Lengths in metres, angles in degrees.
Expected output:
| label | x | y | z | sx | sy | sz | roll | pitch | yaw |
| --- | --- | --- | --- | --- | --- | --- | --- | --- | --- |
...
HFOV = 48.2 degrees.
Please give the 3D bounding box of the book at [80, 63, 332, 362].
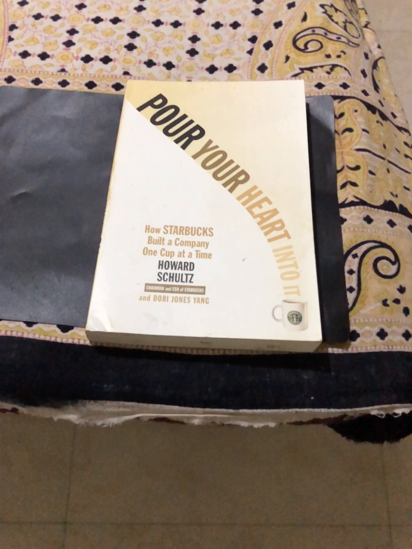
| label | x | y | z | sx | sy | sz | roll | pitch | yaw |
| --- | --- | --- | --- | --- | --- | --- | --- | --- | --- |
| book | 0.005 | -0.059 | 0.366 | 0.160 | 0.050 | 0.240 | 3 | 65 | 0 |
